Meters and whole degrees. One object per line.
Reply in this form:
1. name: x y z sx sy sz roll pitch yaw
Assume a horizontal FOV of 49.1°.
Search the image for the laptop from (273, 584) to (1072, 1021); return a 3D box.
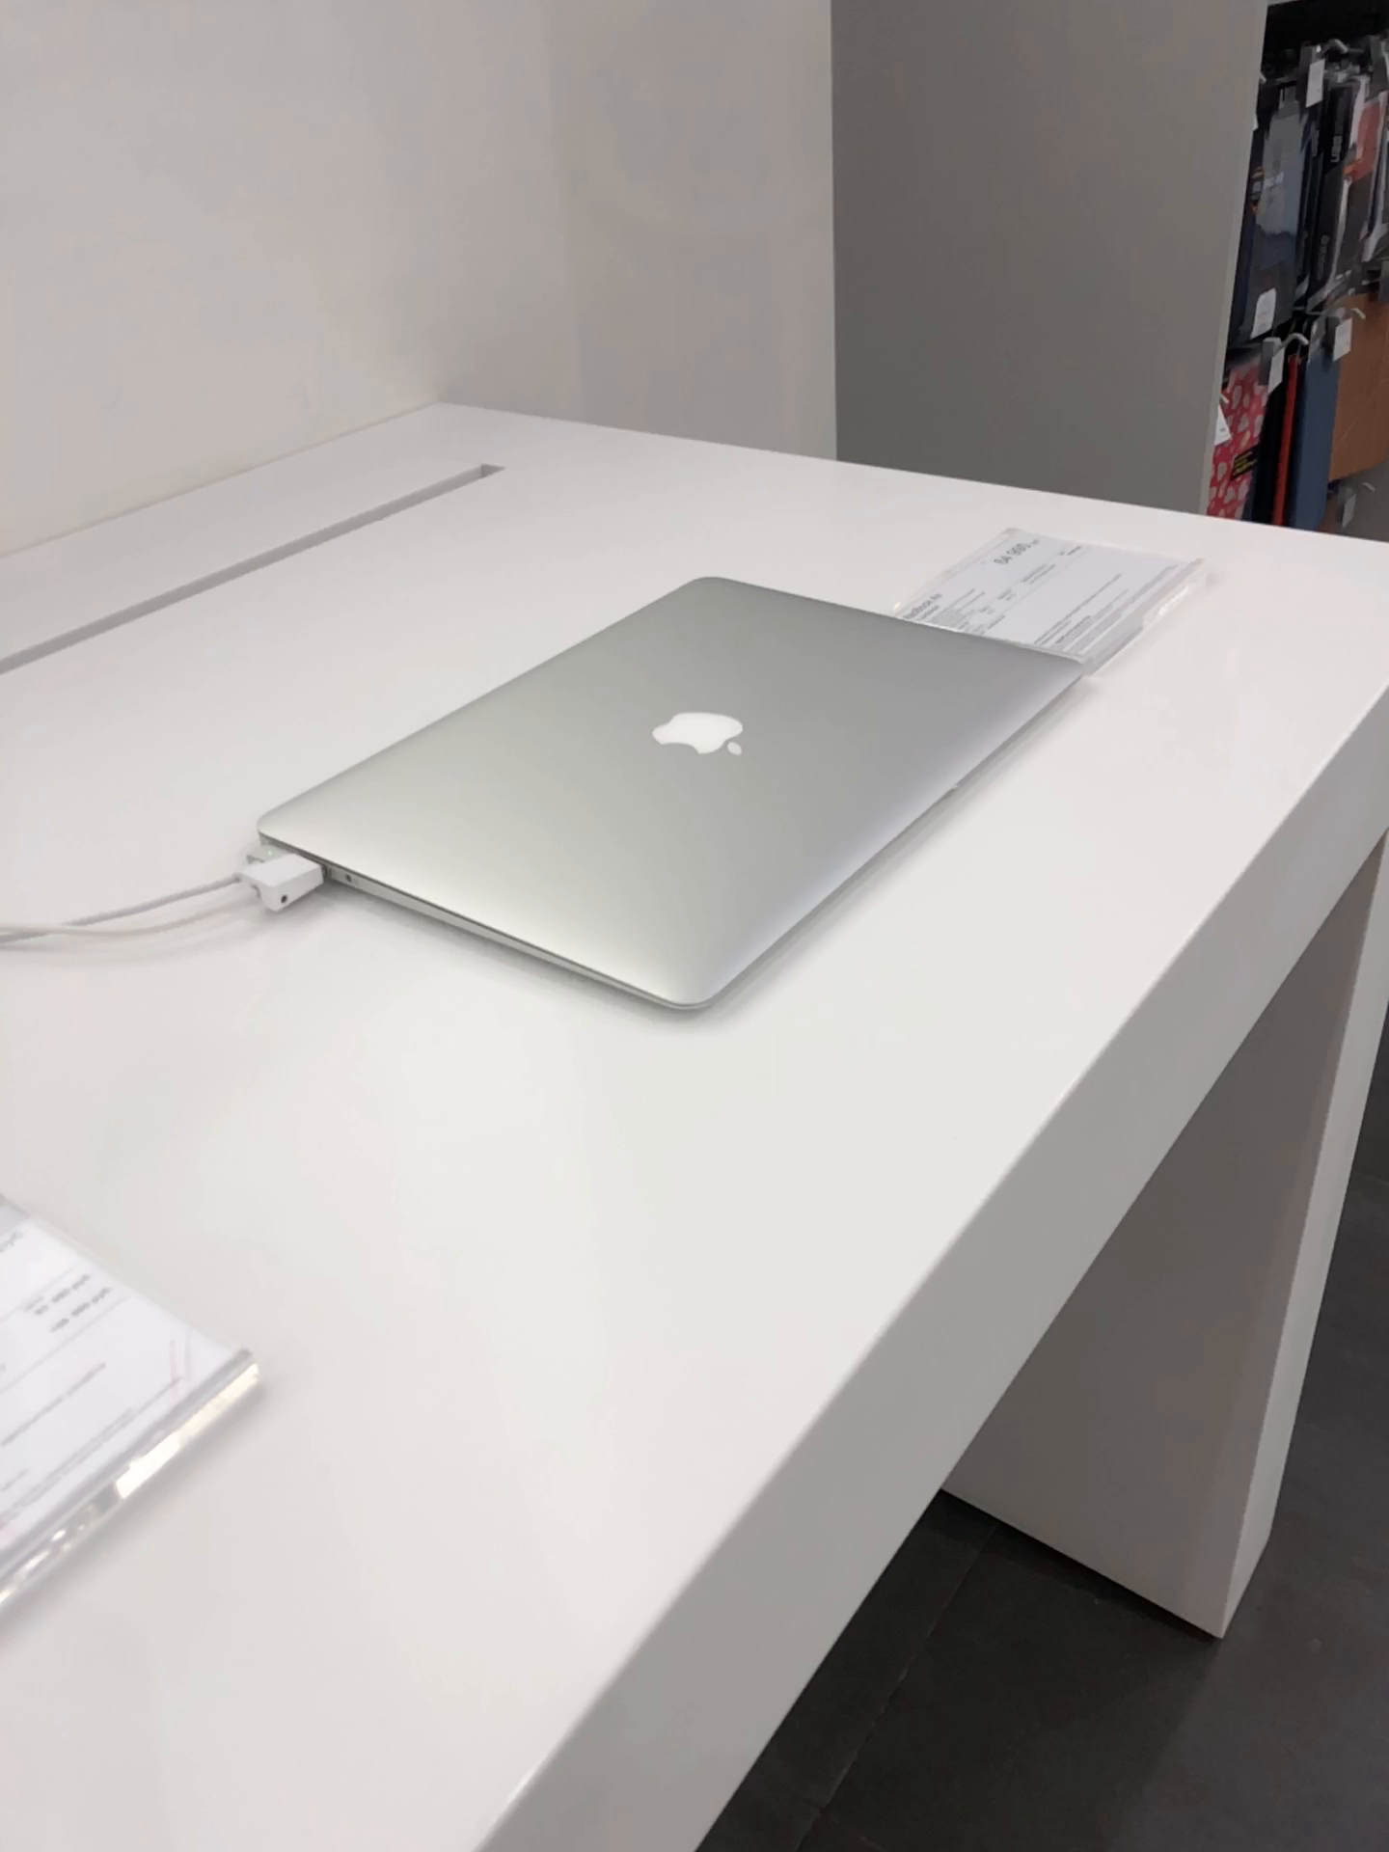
1. laptop: 0.004 -0.076 0.670 0.210 0.008 0.308 21 40 30
